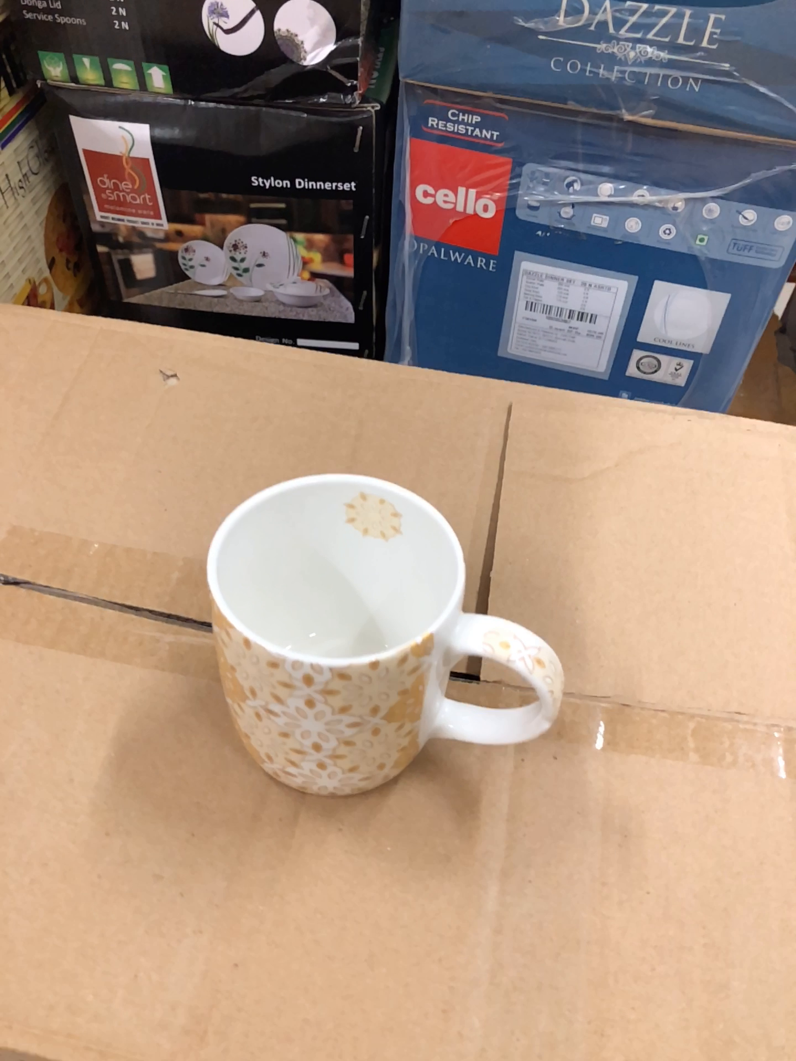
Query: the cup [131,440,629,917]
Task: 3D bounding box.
[{"bbox_3d":[-0.004,0.046,0.281,0.120,0.090,0.080,18,48,11],"label":"cup"}]
